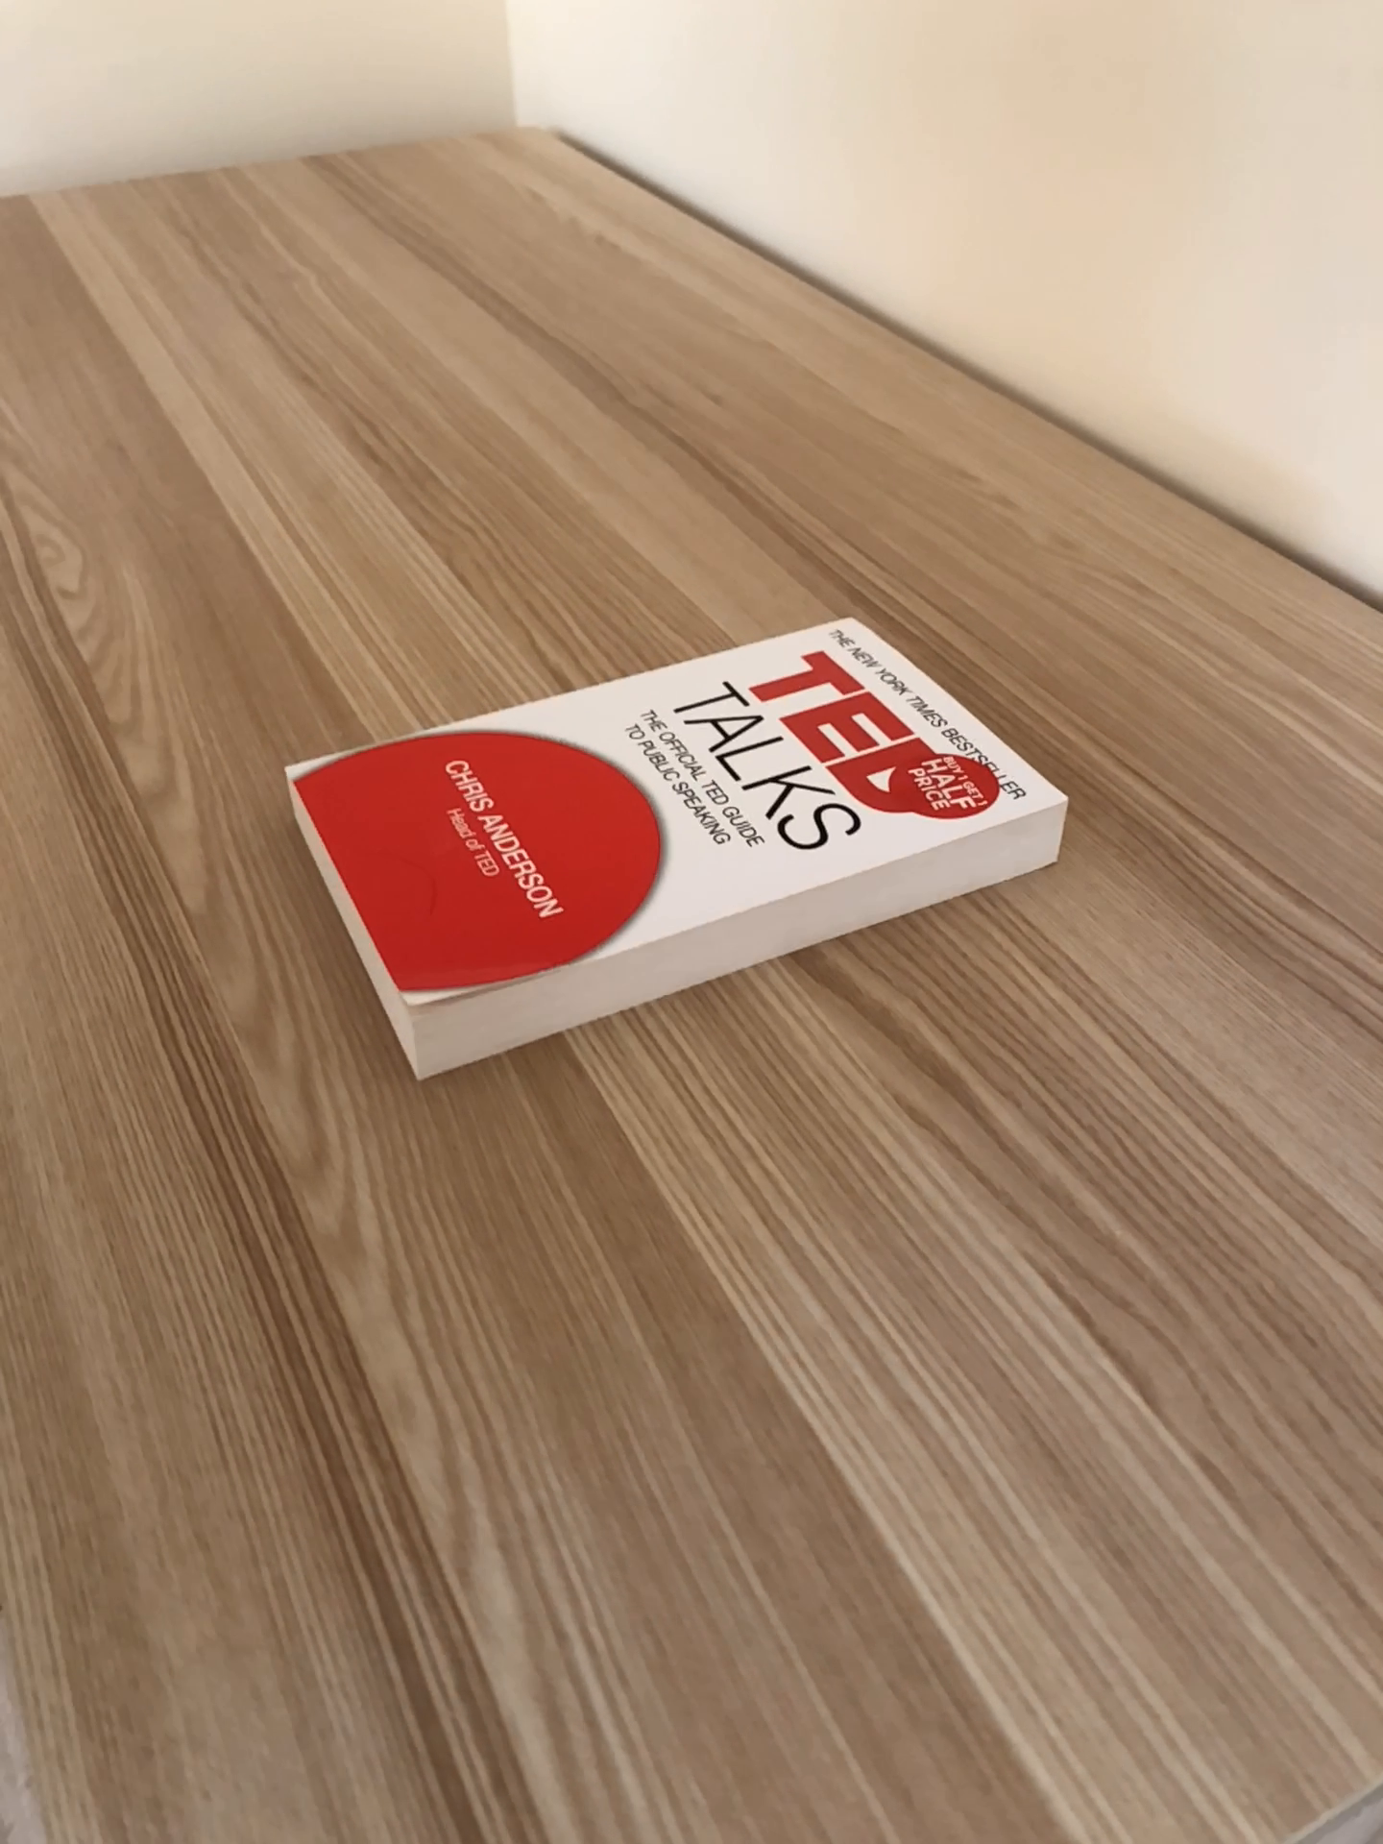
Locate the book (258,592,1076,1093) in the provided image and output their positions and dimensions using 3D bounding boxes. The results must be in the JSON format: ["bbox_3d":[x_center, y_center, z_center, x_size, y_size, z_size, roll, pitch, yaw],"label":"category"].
[{"bbox_3d":[-0.011,-0.037,0.489,0.221,0.030,0.138,-18,43,-19],"label":"book"}]
